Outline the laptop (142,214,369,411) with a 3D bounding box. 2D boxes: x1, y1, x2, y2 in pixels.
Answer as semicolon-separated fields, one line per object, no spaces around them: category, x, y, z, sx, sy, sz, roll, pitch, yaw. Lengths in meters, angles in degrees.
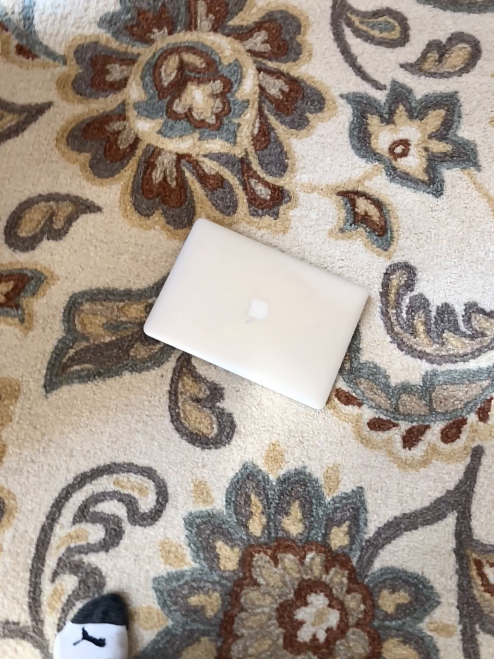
laptop;0.017;-0.031;0.838;0.295;0.001;0.207;24;77;1
